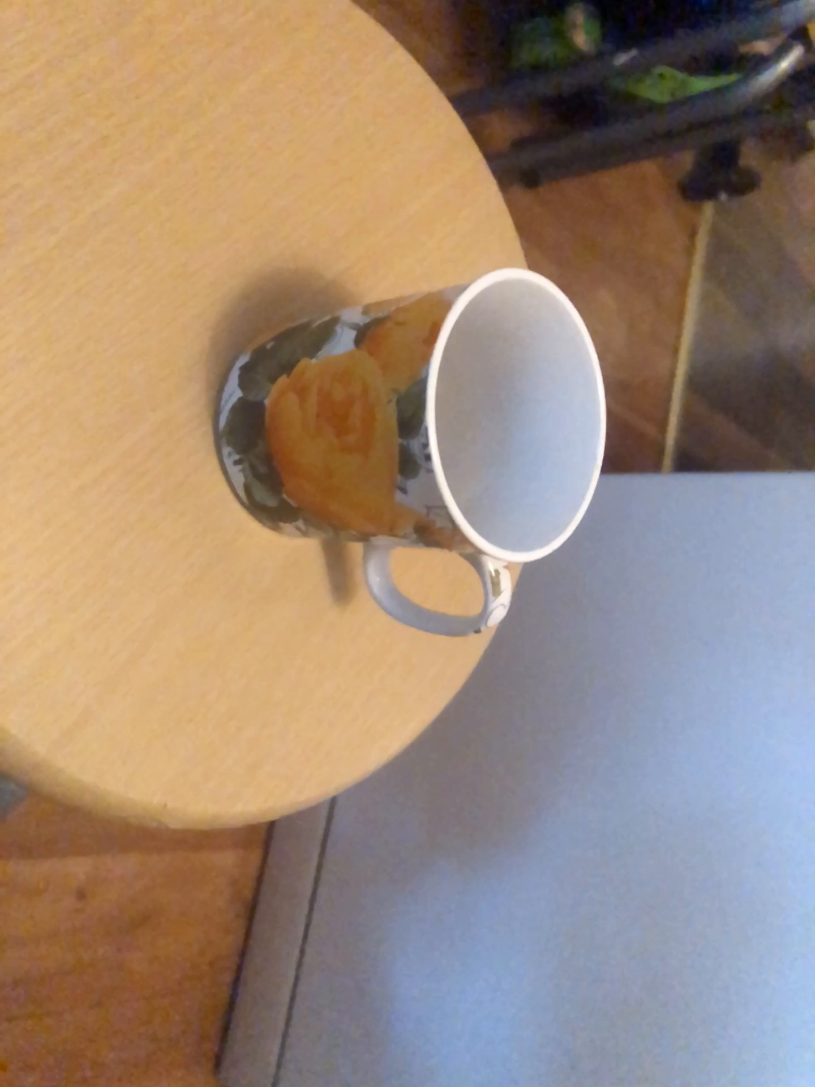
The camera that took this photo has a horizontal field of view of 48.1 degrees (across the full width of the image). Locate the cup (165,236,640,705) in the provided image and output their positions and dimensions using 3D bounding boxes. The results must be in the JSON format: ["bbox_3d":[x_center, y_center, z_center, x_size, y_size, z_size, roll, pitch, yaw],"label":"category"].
[{"bbox_3d":[0.001,-0.025,0.289,0.083,0.097,0.110,-30,113,-42],"label":"cup"}]
